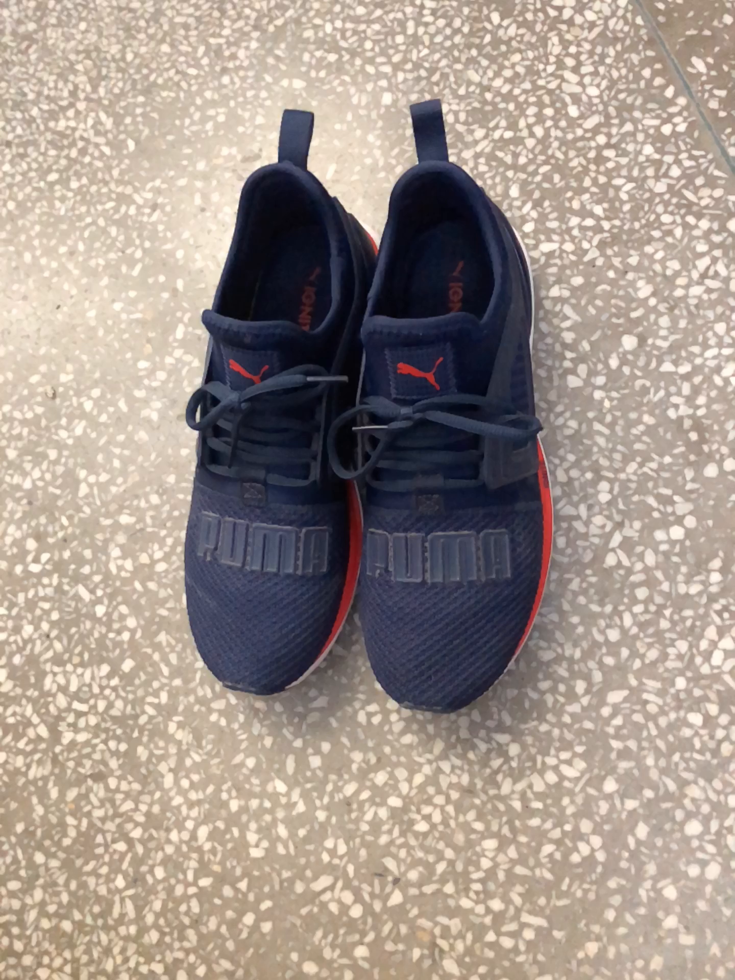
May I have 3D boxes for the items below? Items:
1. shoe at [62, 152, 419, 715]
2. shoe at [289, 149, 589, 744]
[{"bbox_3d":[-0.053,-0.026,0.428,0.107,0.113,0.257,7,80,13],"label":"shoe"},{"bbox_3d":[0.044,-0.019,0.406,0.107,0.113,0.257,4,79,12],"label":"shoe"}]
